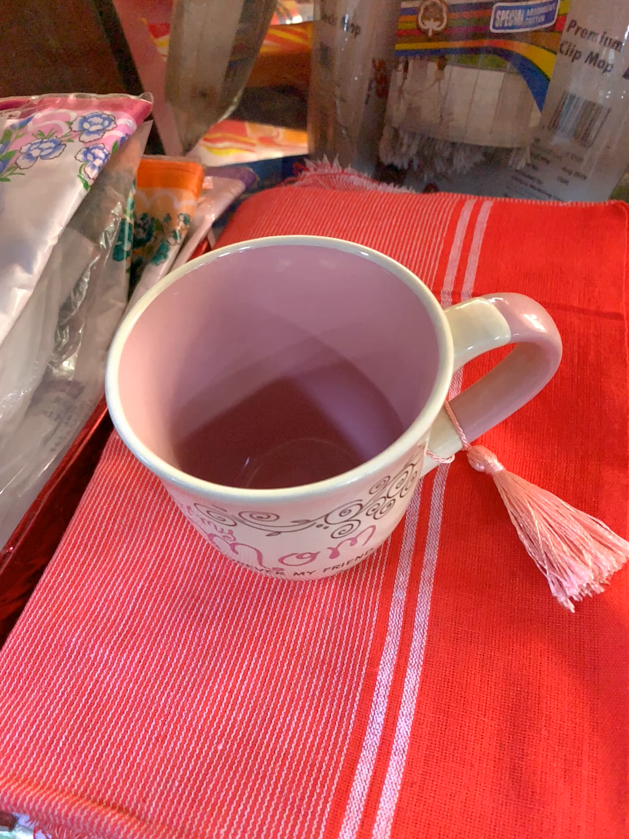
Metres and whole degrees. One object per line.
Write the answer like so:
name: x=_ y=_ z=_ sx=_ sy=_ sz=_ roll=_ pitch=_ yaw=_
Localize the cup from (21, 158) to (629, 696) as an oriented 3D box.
cup: x=0.001 y=0.001 z=0.190 sx=0.125 sy=0.075 sz=0.086 roll=-25 pitch=56 yaw=-9
